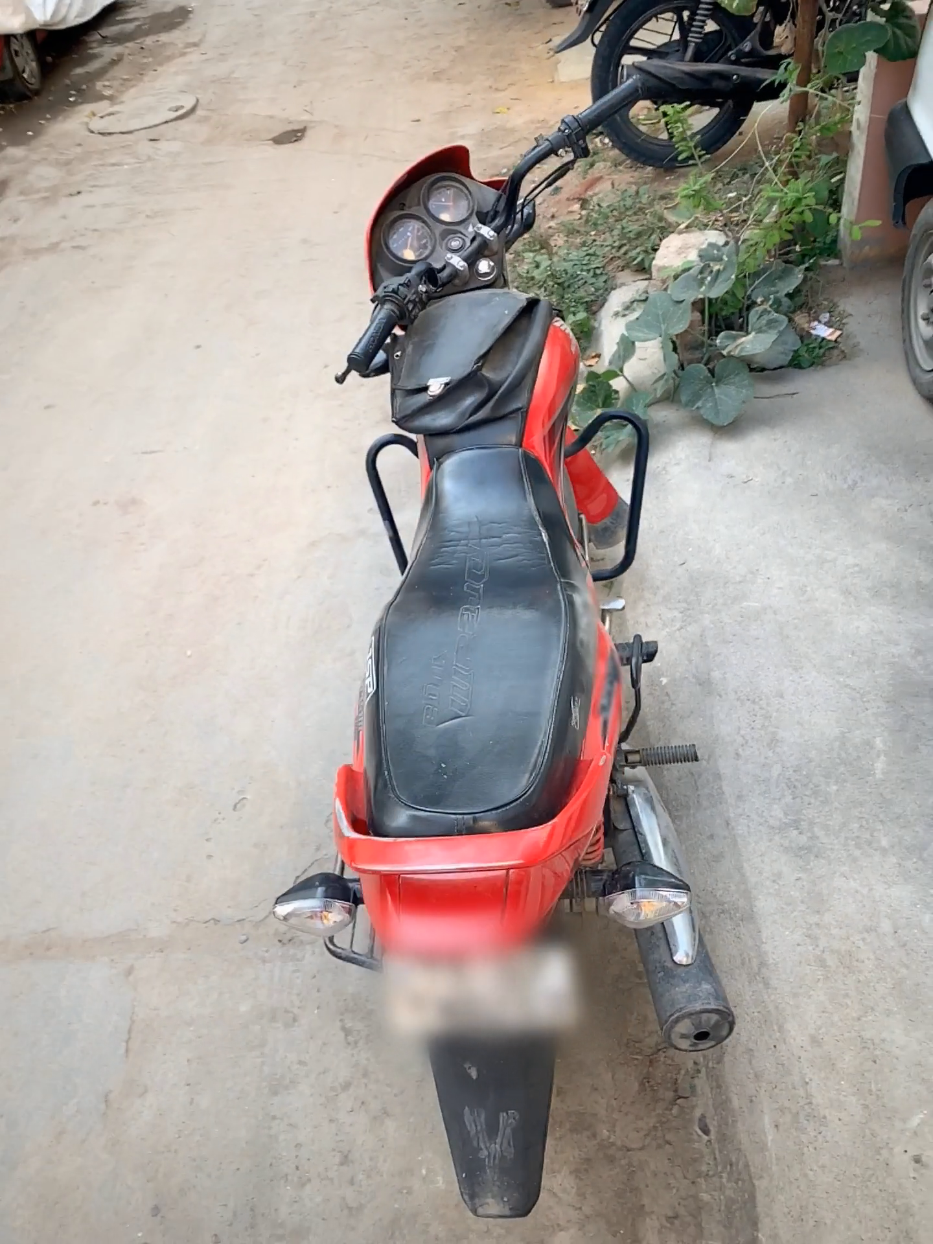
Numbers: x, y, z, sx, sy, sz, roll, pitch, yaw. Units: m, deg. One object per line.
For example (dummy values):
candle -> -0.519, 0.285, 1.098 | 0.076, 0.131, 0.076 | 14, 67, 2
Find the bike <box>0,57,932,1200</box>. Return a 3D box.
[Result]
bike -> -0.020, -0.102, 1.665 | 0.758, 1.092, 1.714 | -10, 44, 2
